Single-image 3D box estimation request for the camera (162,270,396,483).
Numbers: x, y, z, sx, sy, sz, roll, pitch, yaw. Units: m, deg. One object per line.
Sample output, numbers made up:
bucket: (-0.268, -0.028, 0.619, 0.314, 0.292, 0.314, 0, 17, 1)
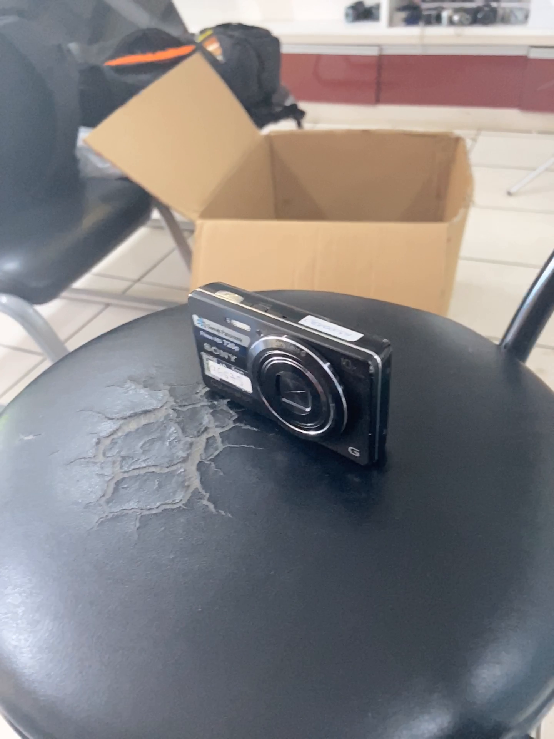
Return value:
camera: (-0.002, 0.000, 0.235, 0.097, 0.051, 0.024, 25, 46, 32)
